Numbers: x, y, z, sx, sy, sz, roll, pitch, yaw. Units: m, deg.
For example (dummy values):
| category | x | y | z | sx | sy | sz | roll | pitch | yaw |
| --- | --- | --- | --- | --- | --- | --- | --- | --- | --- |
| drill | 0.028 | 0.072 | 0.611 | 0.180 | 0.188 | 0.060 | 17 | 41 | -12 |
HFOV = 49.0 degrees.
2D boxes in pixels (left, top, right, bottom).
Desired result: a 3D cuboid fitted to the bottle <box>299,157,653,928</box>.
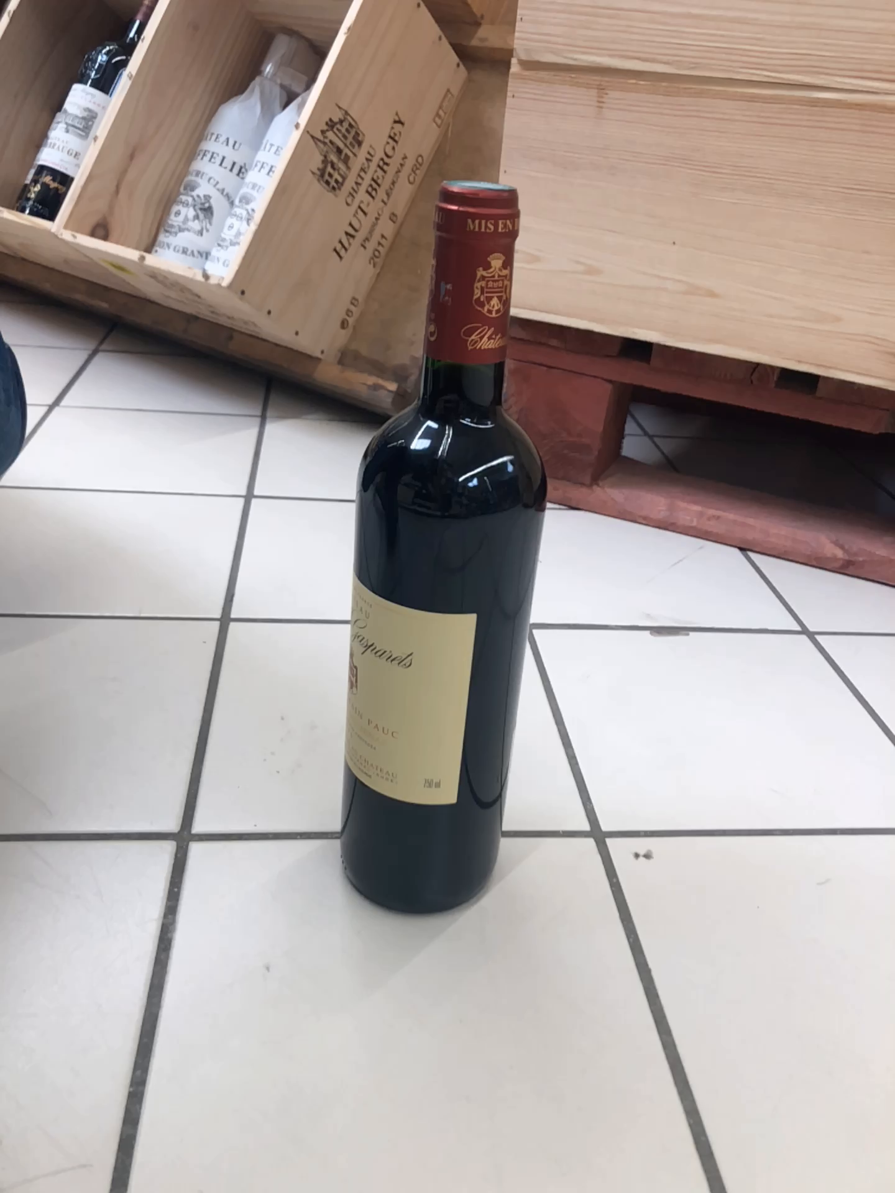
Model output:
| category | x | y | z | sx | sy | sz | roll | pitch | yaw |
| --- | --- | --- | --- | --- | --- | --- | --- | --- | --- |
| bottle | -0.004 | -0.011 | 0.392 | 0.090 | 0.288 | 0.080 | -5 | 30 | -20 |
